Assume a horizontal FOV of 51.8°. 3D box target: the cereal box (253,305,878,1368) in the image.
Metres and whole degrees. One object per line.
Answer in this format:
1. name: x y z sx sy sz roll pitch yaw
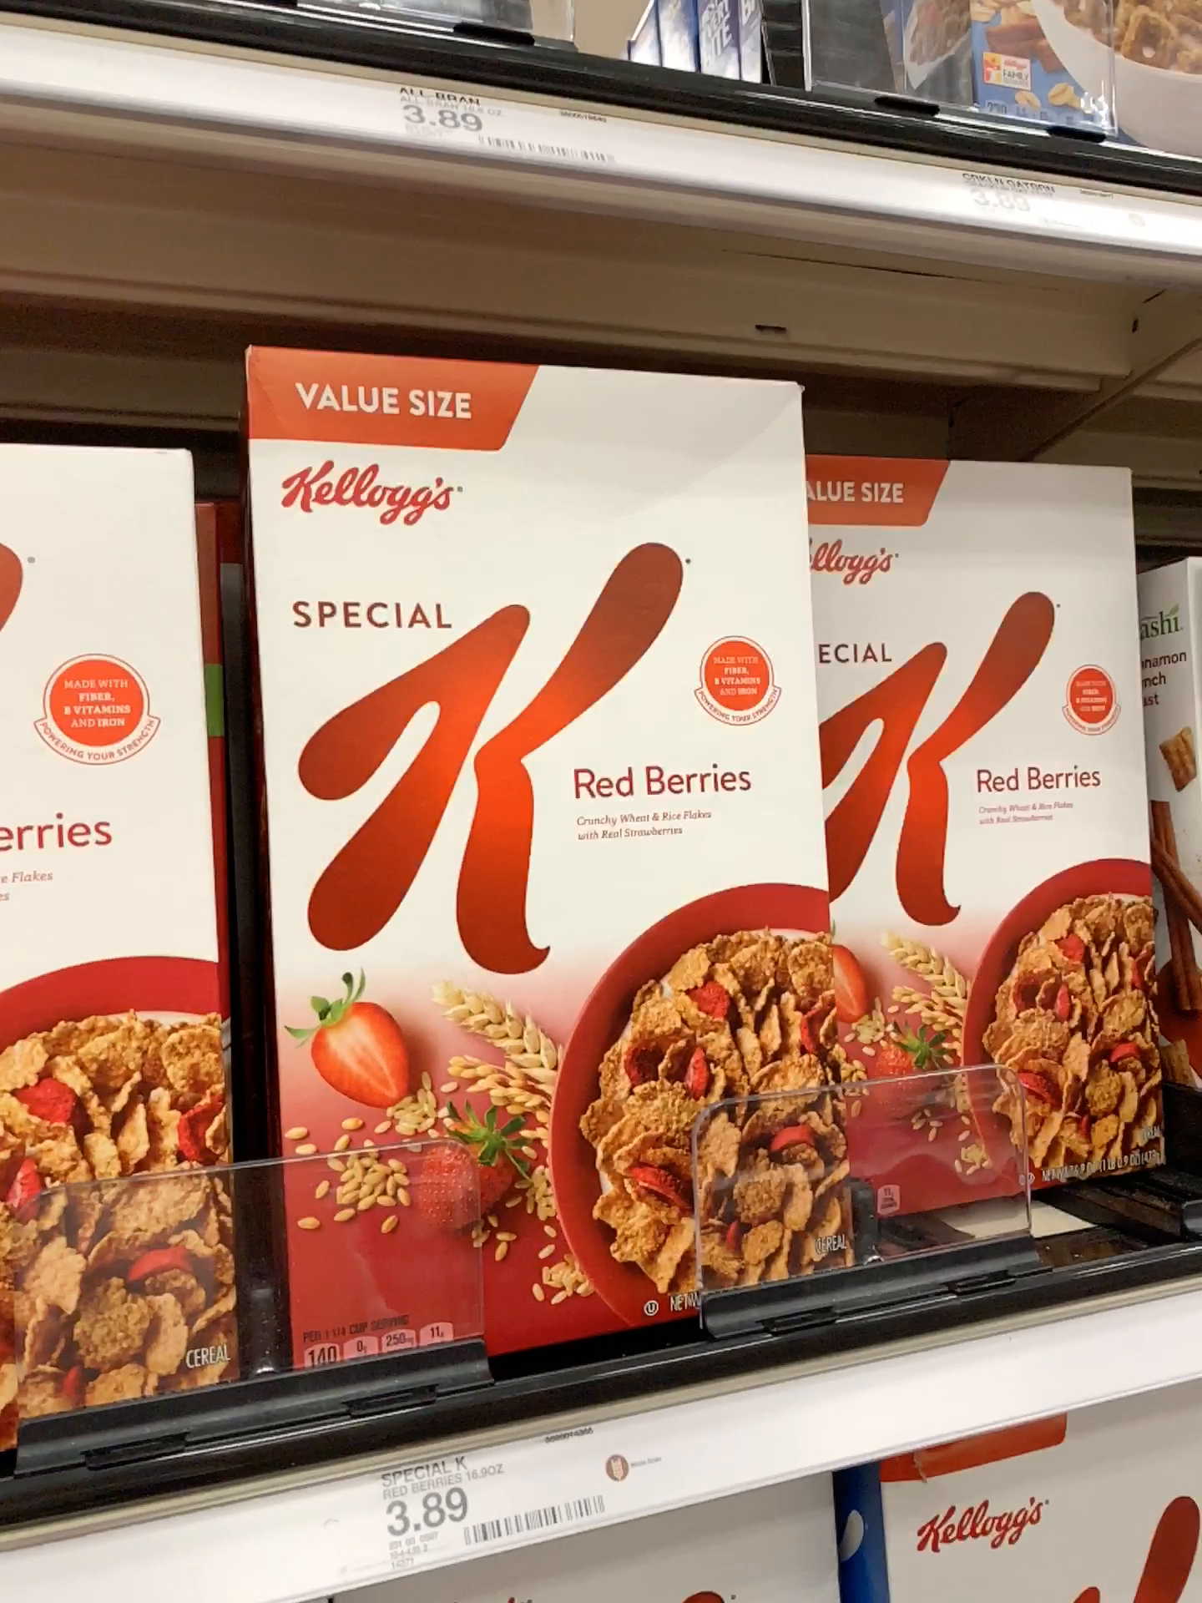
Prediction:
1. cereal box: -0.011 0.007 0.435 0.200 0.320 0.060 -2 -1 -20

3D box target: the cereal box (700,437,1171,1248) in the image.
1. cereal box: 0.155 0.013 0.568 0.200 0.330 0.060 -2 -1 -21

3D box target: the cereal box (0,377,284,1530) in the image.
1. cereal box: -0.207 0.034 0.376 0.200 0.290 0.060 -2 -1 -21
